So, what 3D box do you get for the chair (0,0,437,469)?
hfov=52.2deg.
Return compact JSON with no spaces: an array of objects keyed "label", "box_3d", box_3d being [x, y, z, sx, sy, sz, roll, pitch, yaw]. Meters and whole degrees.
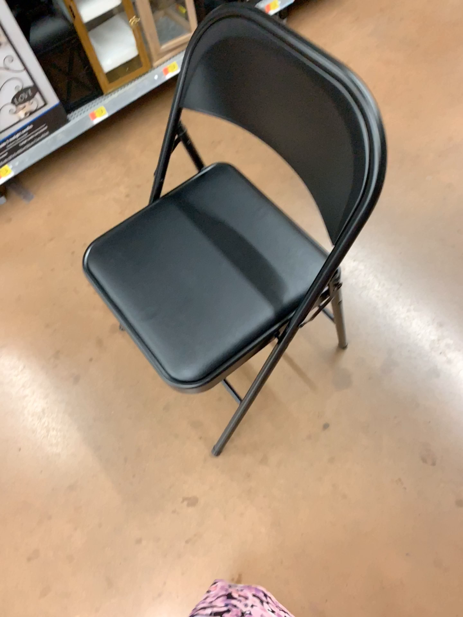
[{"label":"chair","box_3d":[-0.067,-0.090,0.875,0.470,0.698,0.471,-38,66,-10]}]
